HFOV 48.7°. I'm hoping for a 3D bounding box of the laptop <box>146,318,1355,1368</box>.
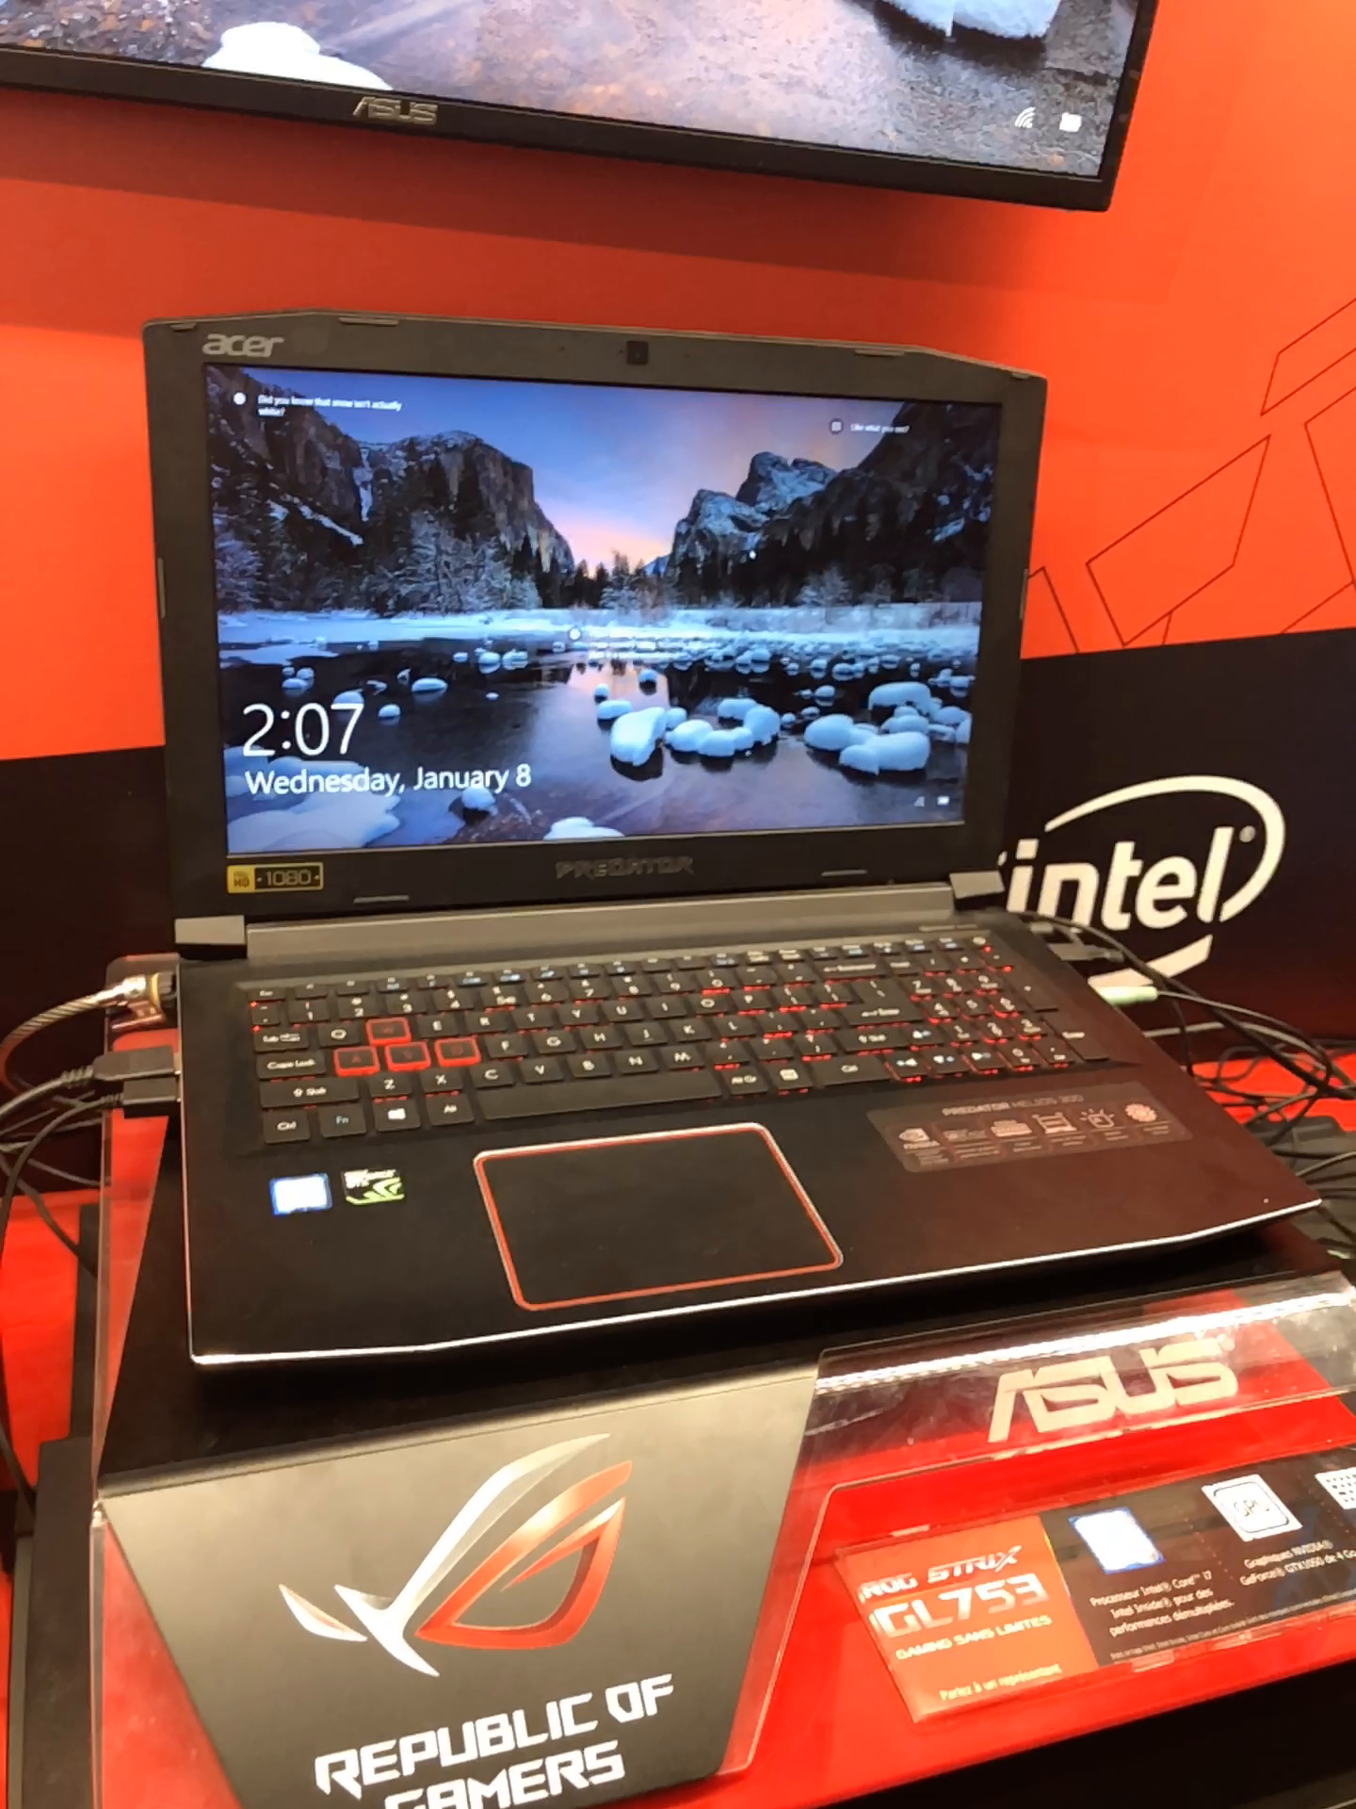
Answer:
[{"bbox_3d":[0.016,-0.058,0.553,0.385,0.240,0.295,-3,26,-18],"label":"laptop"}]
